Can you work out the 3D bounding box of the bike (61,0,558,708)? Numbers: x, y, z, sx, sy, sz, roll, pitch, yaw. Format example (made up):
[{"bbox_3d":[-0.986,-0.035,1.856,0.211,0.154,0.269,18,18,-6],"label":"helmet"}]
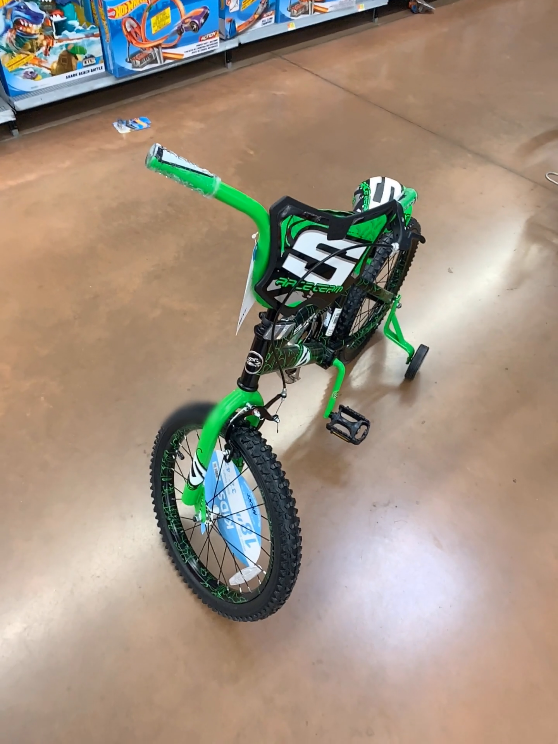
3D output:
[{"bbox_3d":[0.200,-0.136,1.197,0.636,0.915,1.054,18,50,13],"label":"bike"}]
